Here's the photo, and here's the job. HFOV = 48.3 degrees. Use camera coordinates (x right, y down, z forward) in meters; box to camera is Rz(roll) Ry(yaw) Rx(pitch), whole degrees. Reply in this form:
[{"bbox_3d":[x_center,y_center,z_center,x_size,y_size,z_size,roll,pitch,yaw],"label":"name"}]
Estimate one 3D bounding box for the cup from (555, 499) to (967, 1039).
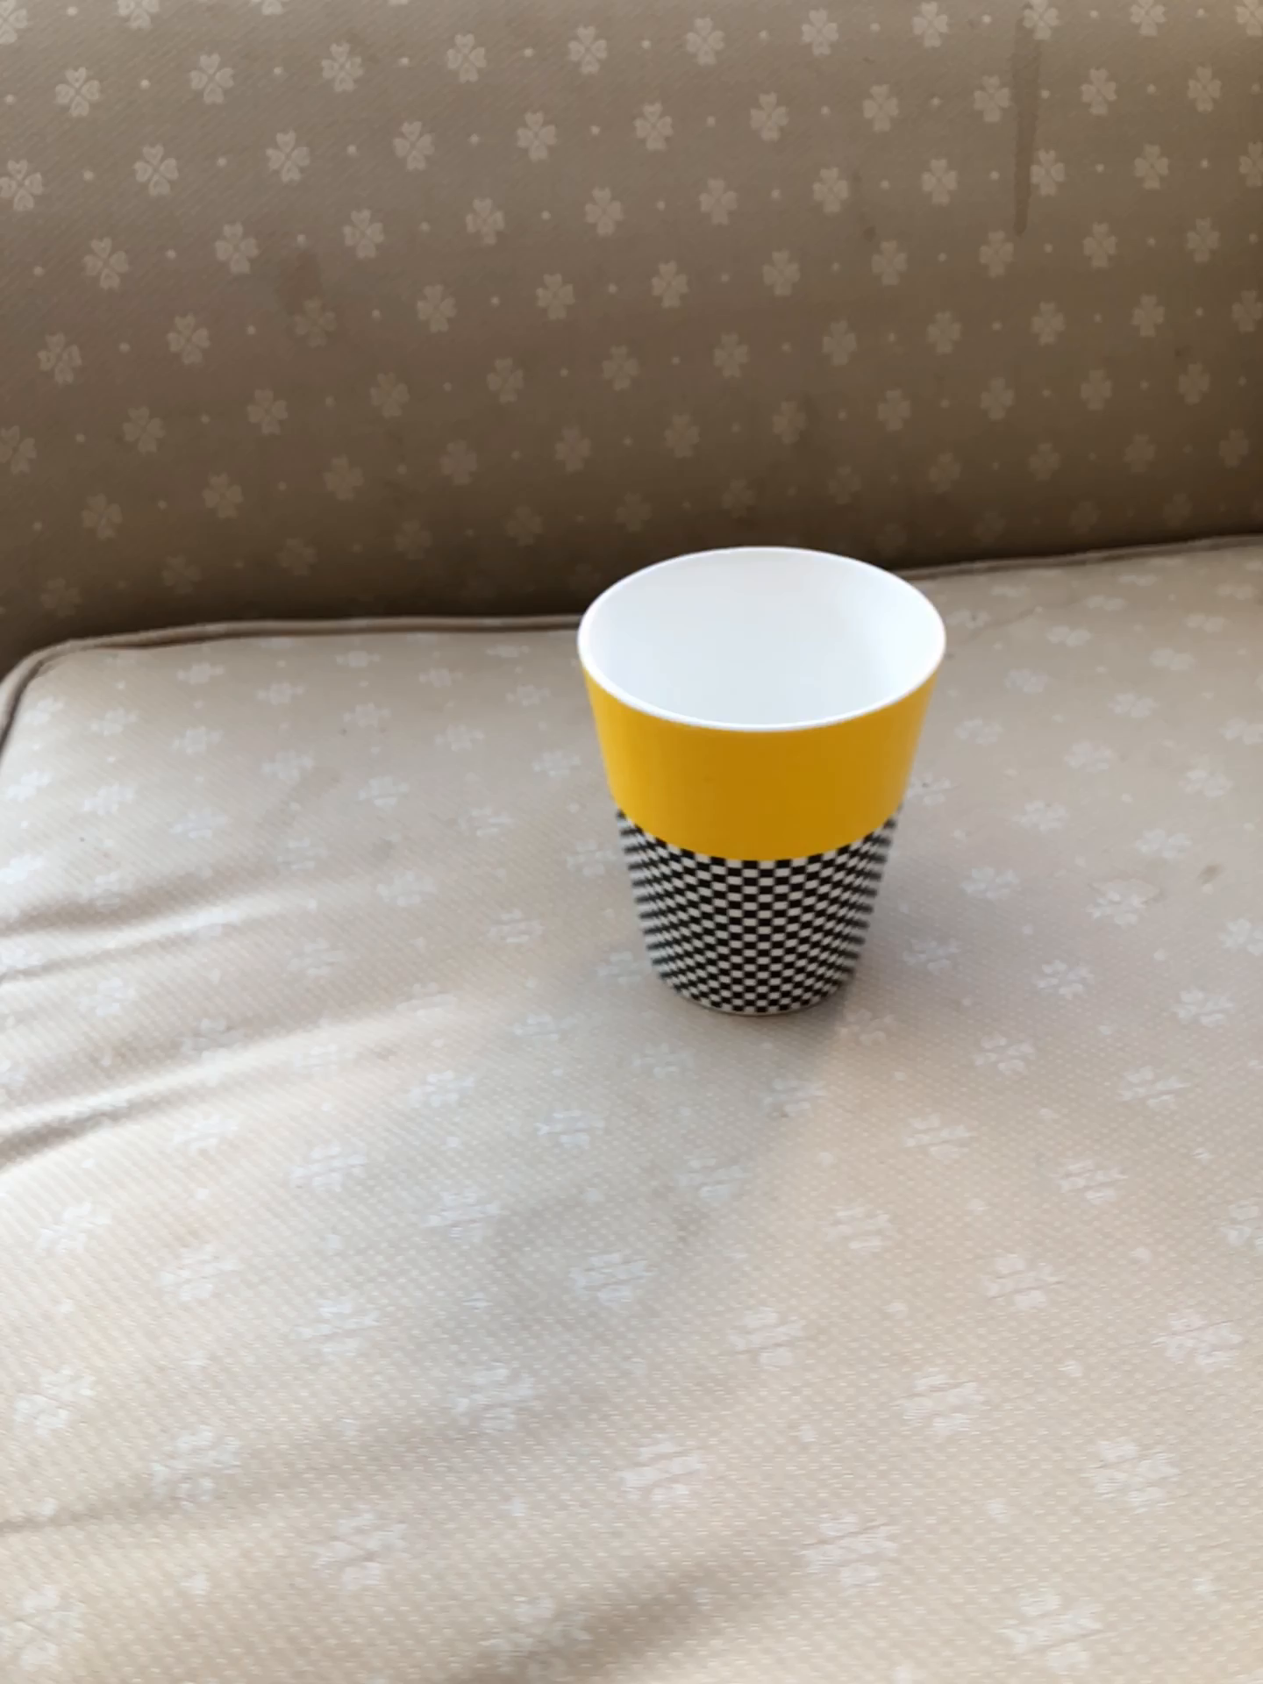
[{"bbox_3d":[0.030,-0.022,0.371,0.087,0.090,0.112,-2,38,2],"label":"cup"}]
